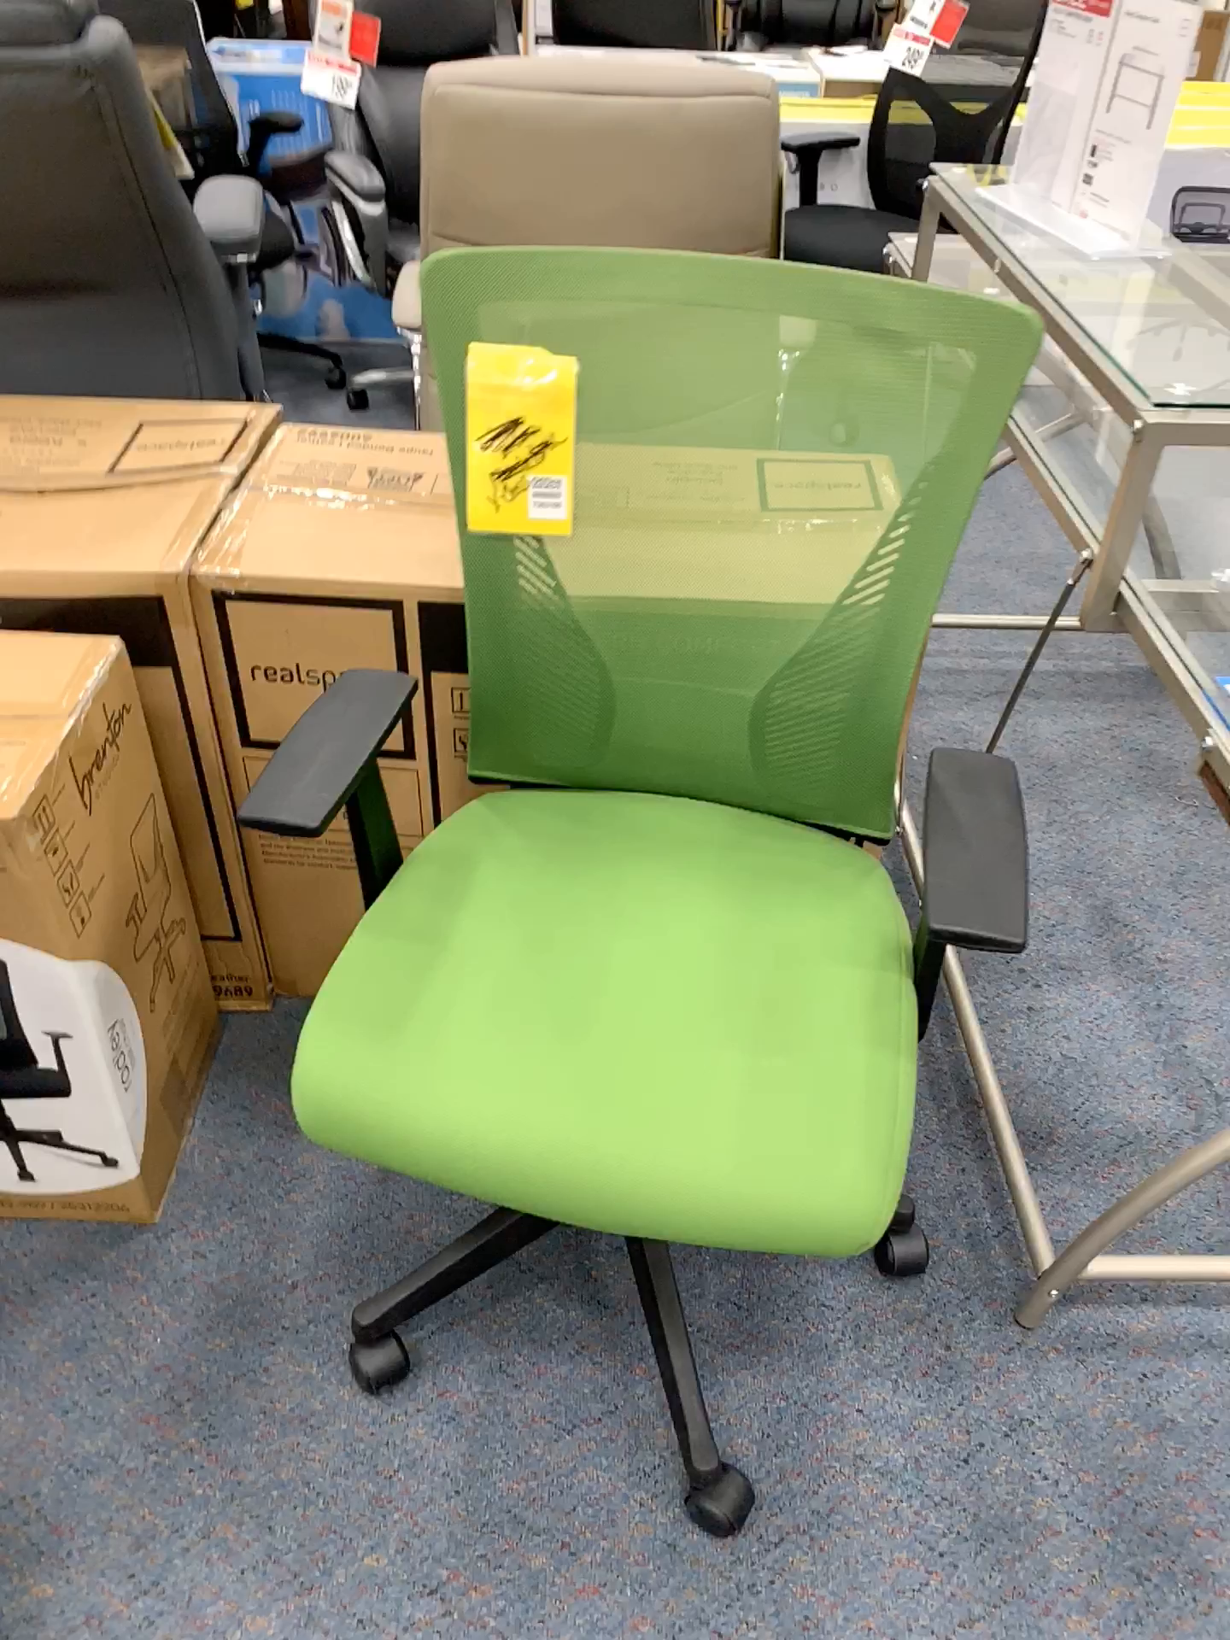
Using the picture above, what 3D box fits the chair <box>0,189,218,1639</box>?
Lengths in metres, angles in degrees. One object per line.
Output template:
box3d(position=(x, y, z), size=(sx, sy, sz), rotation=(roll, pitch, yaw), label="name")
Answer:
box3d(position=(-0.777, 0.241, 0.769), size=(0.644, 0.972, 0.660), rotation=(10, 39, 9), label="chair")

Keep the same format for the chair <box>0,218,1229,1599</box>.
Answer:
box3d(position=(0.035, 0.074, 1.073), size=(0.644, 0.912, 0.600), rotation=(10, 39, 9), label="chair")
